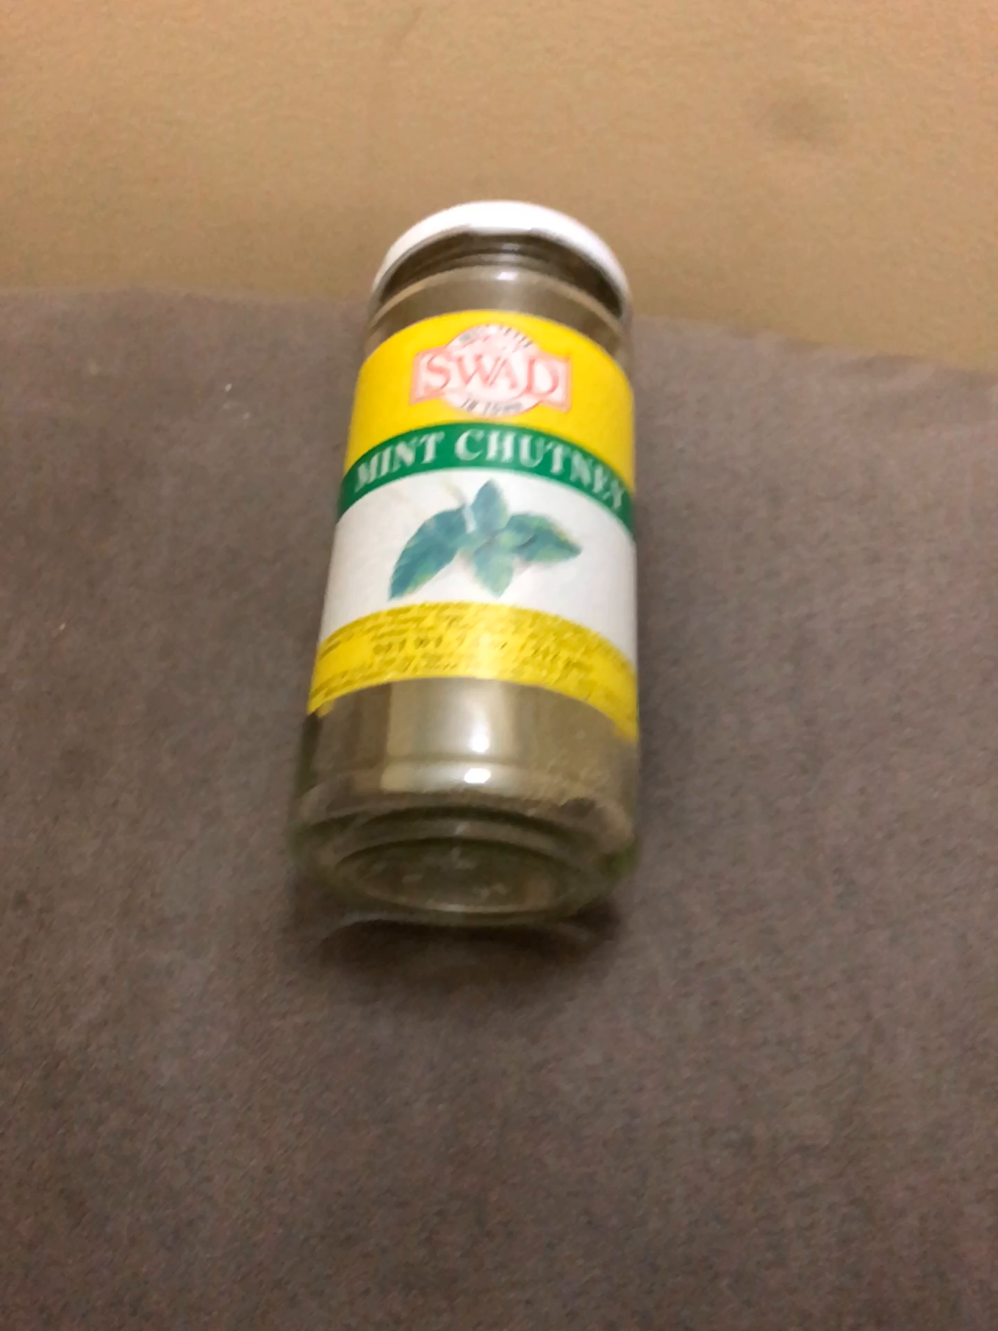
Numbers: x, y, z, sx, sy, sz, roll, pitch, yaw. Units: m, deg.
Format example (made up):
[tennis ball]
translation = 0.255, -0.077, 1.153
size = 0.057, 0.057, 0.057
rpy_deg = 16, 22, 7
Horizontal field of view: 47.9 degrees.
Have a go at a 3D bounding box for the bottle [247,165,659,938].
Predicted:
[bottle]
translation = -0.001, -0.024, 0.209
size = 0.056, 0.056, 0.133
rpy_deg = 0, 61, 6
